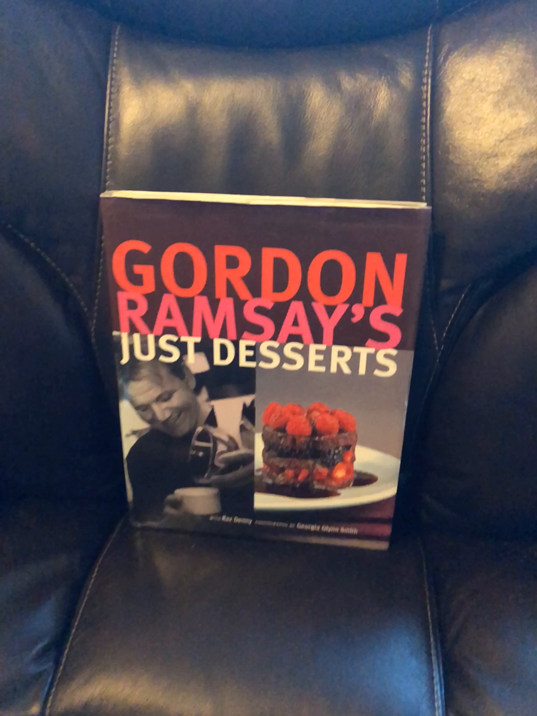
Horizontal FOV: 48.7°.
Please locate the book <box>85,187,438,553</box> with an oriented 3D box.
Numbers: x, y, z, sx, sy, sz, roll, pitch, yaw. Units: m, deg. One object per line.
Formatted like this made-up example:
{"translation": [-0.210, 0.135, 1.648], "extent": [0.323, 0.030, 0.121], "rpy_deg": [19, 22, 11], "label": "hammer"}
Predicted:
{"translation": [-0.007, 0.023, 0.464], "extent": [0.230, 0.293, 0.030], "rpy_deg": [3, 28, 6], "label": "book"}
